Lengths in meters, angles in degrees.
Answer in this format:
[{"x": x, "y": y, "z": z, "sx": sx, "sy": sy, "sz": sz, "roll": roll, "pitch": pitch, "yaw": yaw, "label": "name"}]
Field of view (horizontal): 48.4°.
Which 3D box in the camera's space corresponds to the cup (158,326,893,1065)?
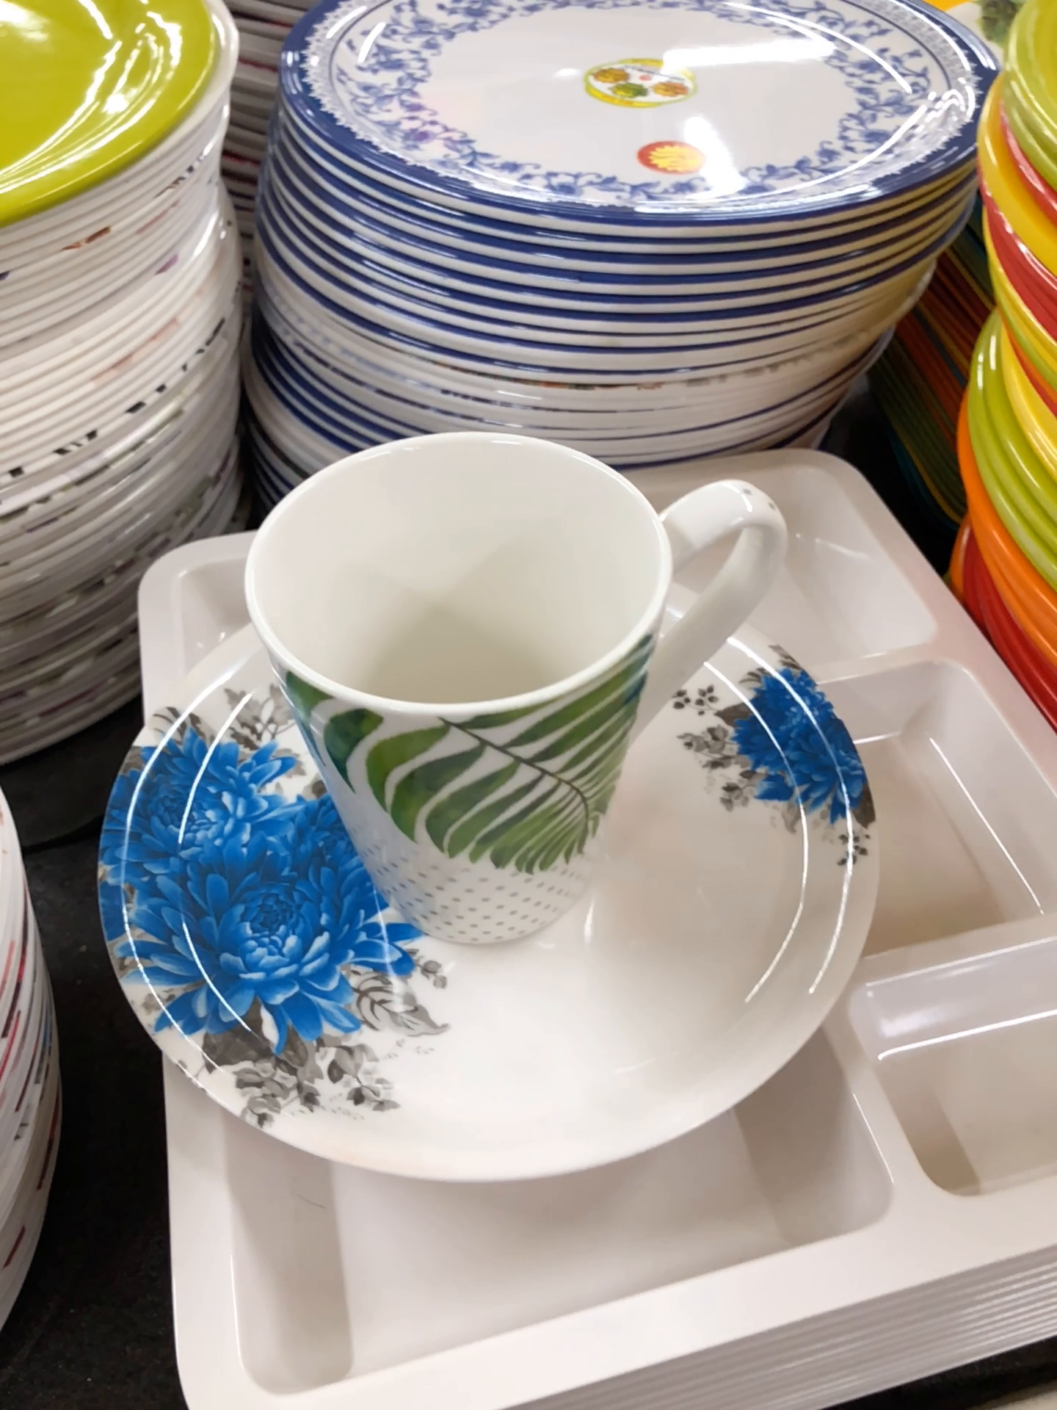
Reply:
[{"x": 0.001, "y": -0.007, "z": 0.261, "sx": 0.120, "sy": 0.089, "sz": 0.080, "roll": -34, "pitch": 57, "yaw": -28, "label": "cup"}]
